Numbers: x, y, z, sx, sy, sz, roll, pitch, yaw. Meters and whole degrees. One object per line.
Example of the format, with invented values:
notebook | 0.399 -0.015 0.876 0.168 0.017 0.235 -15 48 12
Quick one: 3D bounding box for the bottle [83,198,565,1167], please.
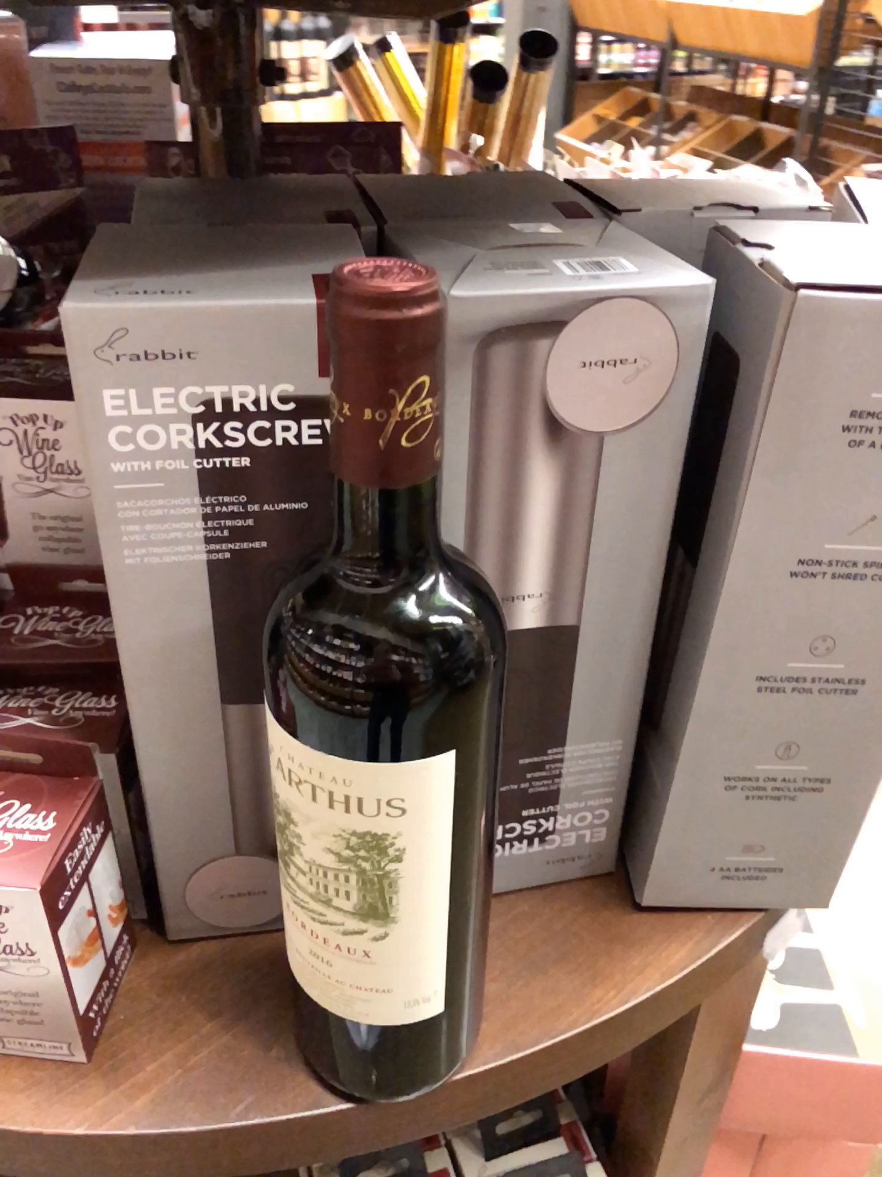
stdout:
bottle | -0.024 0.047 0.307 0.080 0.299 0.080 0 33 0
